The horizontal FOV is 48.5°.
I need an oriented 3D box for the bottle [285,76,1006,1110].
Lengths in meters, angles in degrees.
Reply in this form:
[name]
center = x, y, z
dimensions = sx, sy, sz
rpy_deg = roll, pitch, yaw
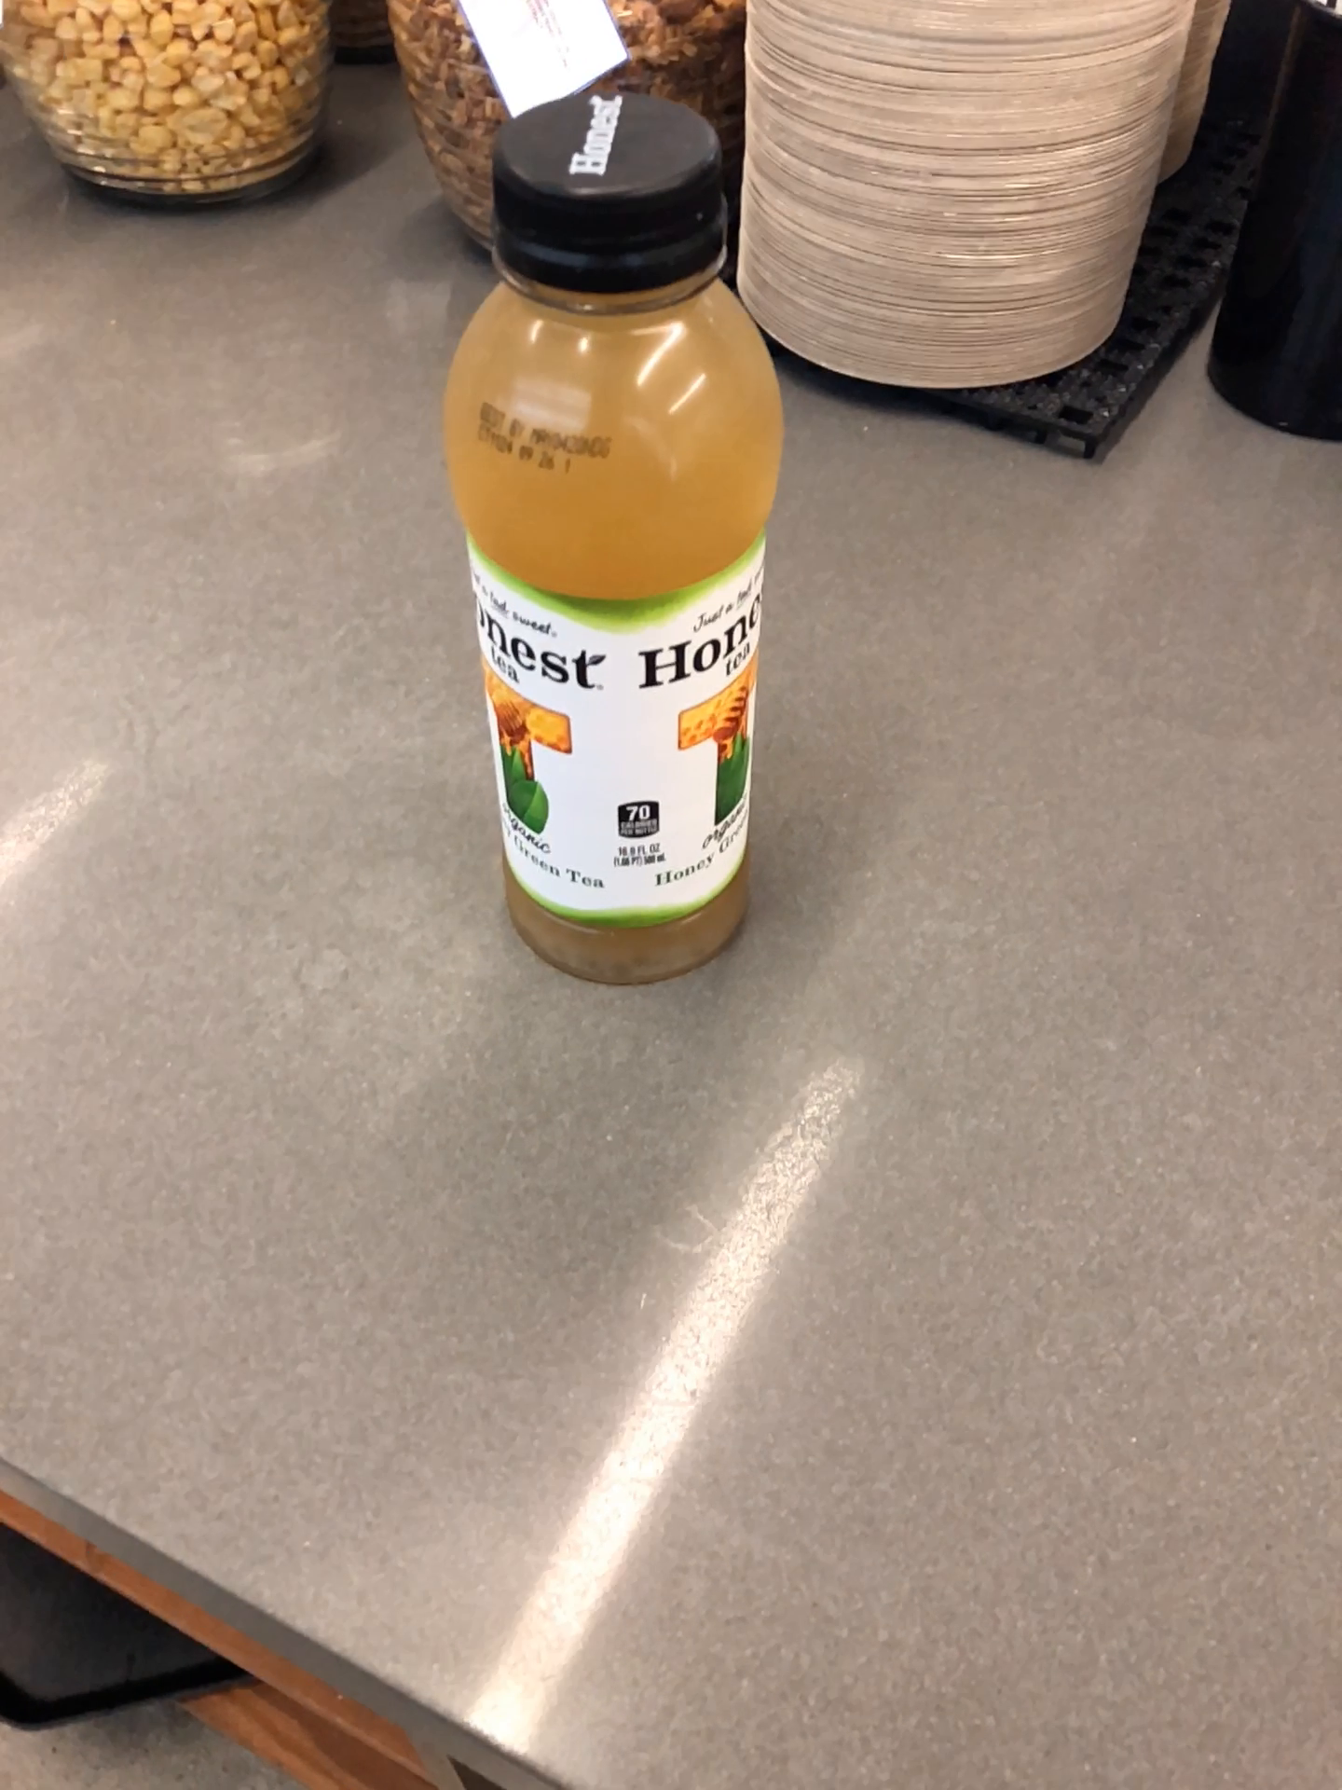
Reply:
[bottle]
center = -0.006, -0.057, 0.335
dimensions = 0.090, 0.189, 0.090
rpy_deg = 0, 49, 0
